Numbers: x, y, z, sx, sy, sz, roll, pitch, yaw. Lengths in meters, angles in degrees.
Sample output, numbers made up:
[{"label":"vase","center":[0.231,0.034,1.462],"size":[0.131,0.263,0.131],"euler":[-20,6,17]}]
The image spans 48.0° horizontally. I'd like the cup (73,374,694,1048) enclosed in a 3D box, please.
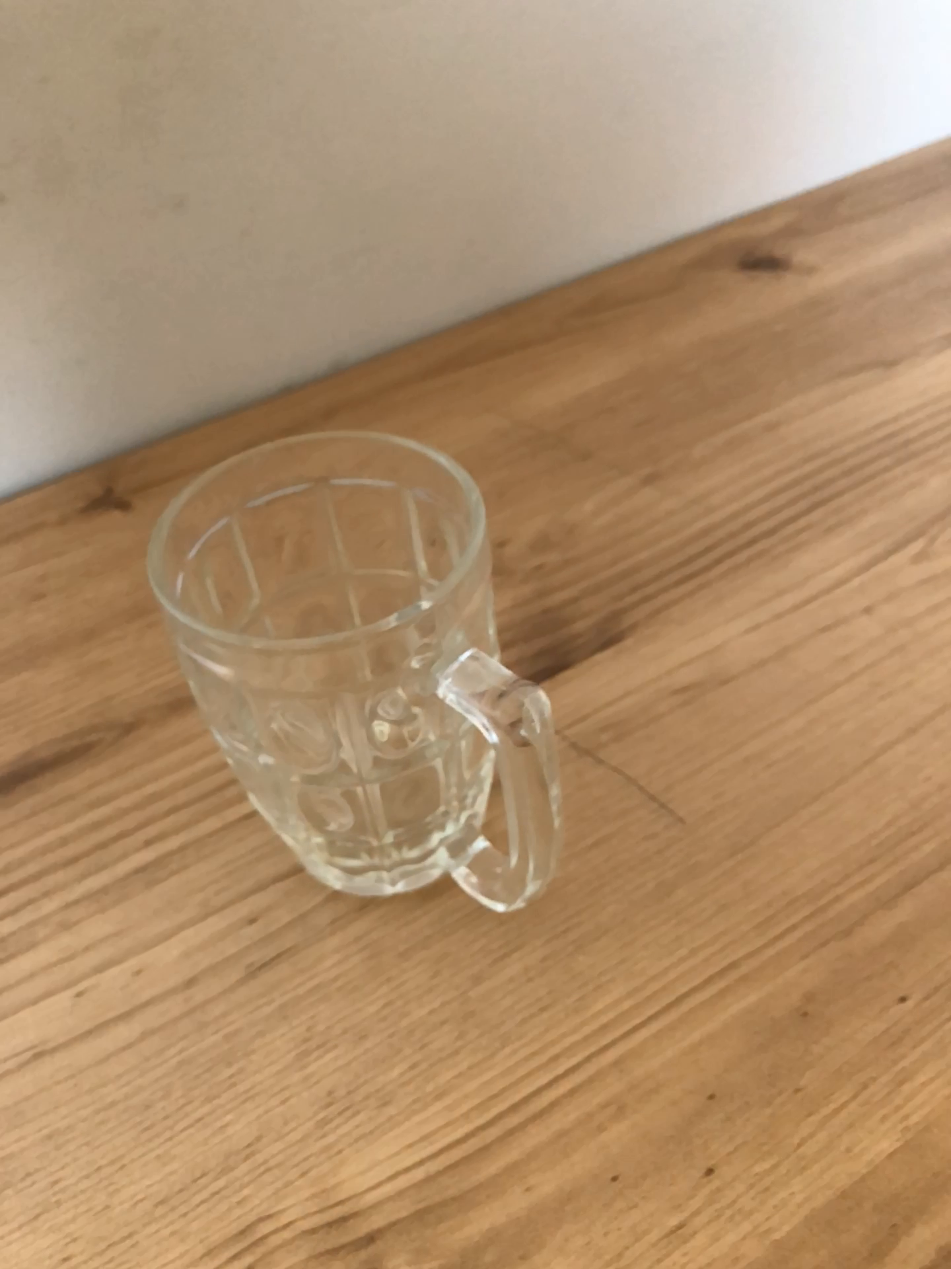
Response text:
[{"label":"cup","center":[-0.020,0.014,0.281],"size":[0.088,0.102,0.120],"euler":[-37,51,-26]}]
